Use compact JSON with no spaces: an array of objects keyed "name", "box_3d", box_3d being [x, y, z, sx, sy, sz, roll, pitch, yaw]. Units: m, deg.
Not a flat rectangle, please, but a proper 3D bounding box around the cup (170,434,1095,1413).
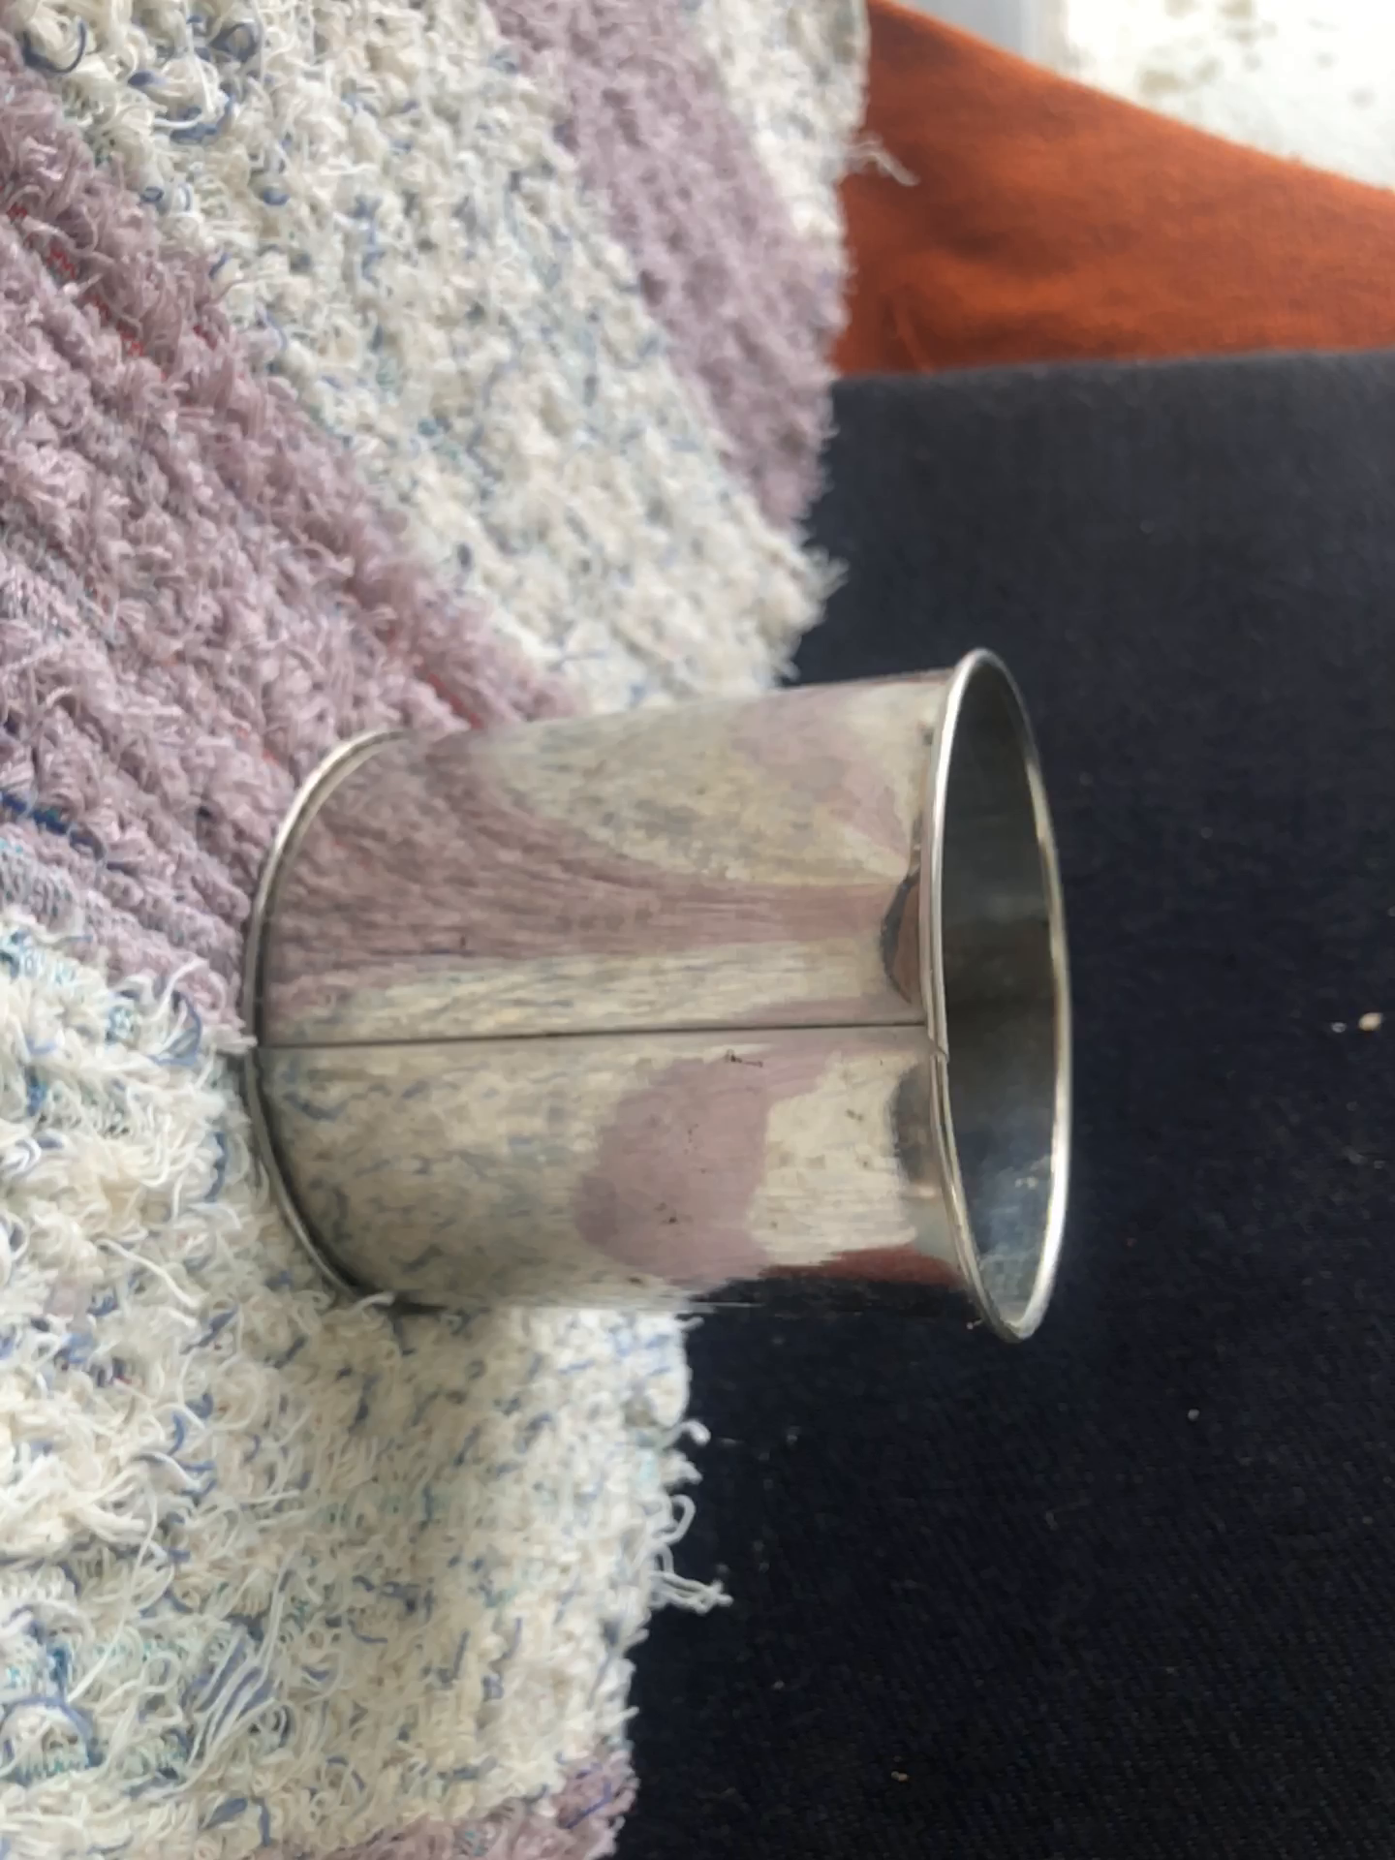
[{"name":"cup","box_3d":[0.003,0.006,0.198,0.080,0.079,0.090,48,45,-60]}]
